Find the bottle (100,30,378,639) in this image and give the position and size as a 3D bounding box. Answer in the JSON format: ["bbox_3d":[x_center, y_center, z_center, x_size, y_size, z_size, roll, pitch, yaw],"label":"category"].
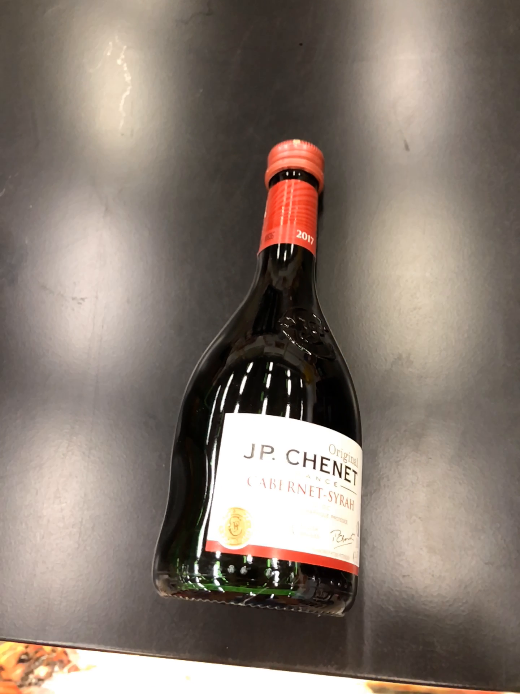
[{"bbox_3d":[0.006,-0.012,0.211,0.070,0.060,0.200,1,69,11],"label":"bottle"}]
